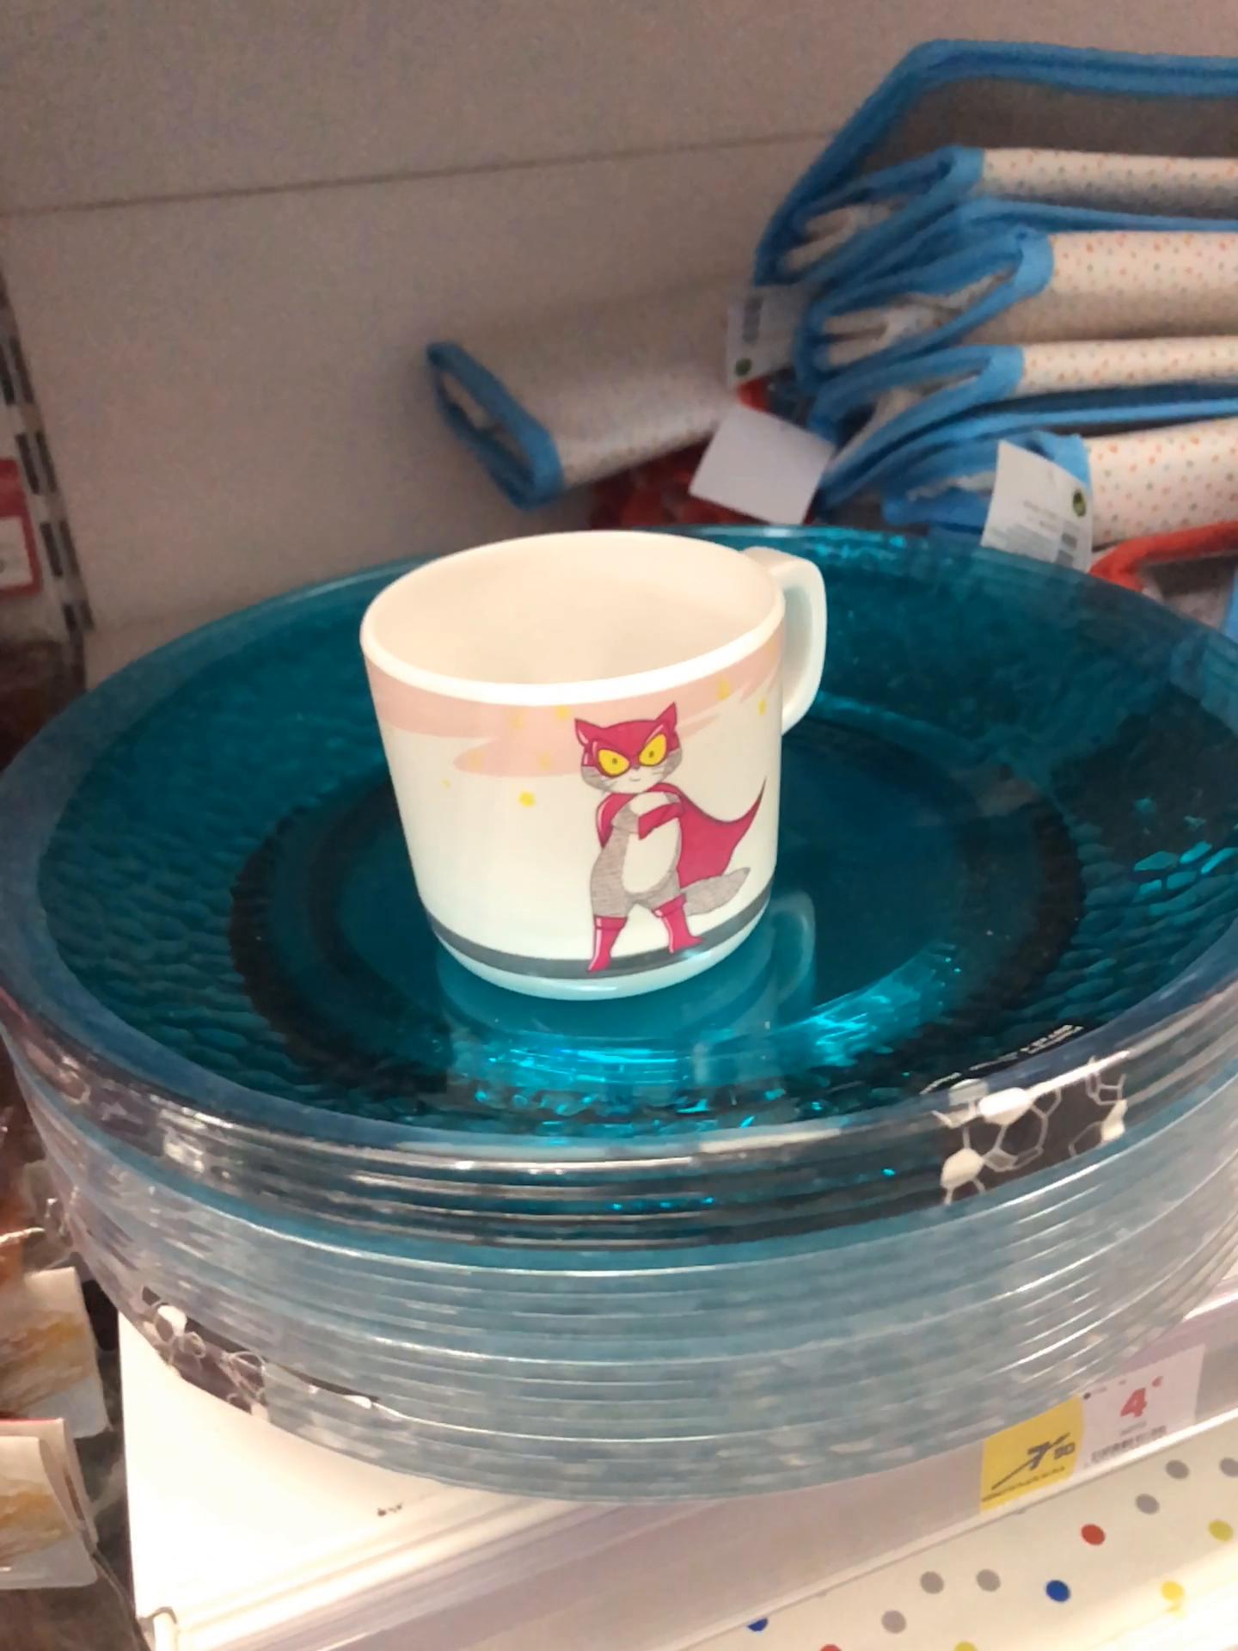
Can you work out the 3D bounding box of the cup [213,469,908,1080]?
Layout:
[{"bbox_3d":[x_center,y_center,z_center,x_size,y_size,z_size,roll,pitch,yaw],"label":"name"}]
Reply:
[{"bbox_3d":[-0.006,-0.018,0.262,0.075,0.064,0.103,20,37,36],"label":"cup"}]
